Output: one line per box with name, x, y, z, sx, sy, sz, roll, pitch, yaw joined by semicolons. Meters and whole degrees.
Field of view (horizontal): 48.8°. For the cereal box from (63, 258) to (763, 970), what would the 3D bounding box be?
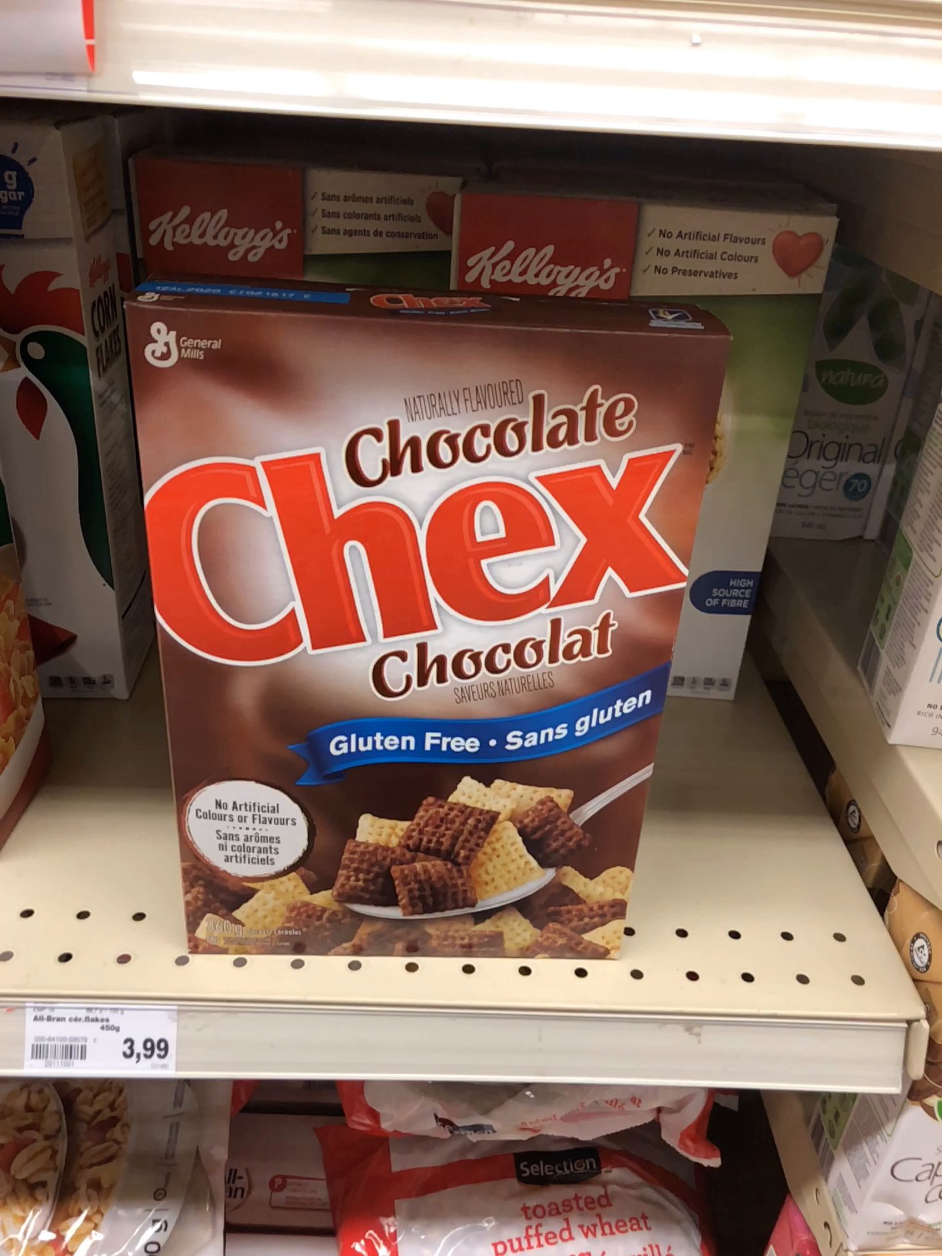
cereal box;-0.024;0.012;0.402;0.210;0.278;0.050;2;30;-3
